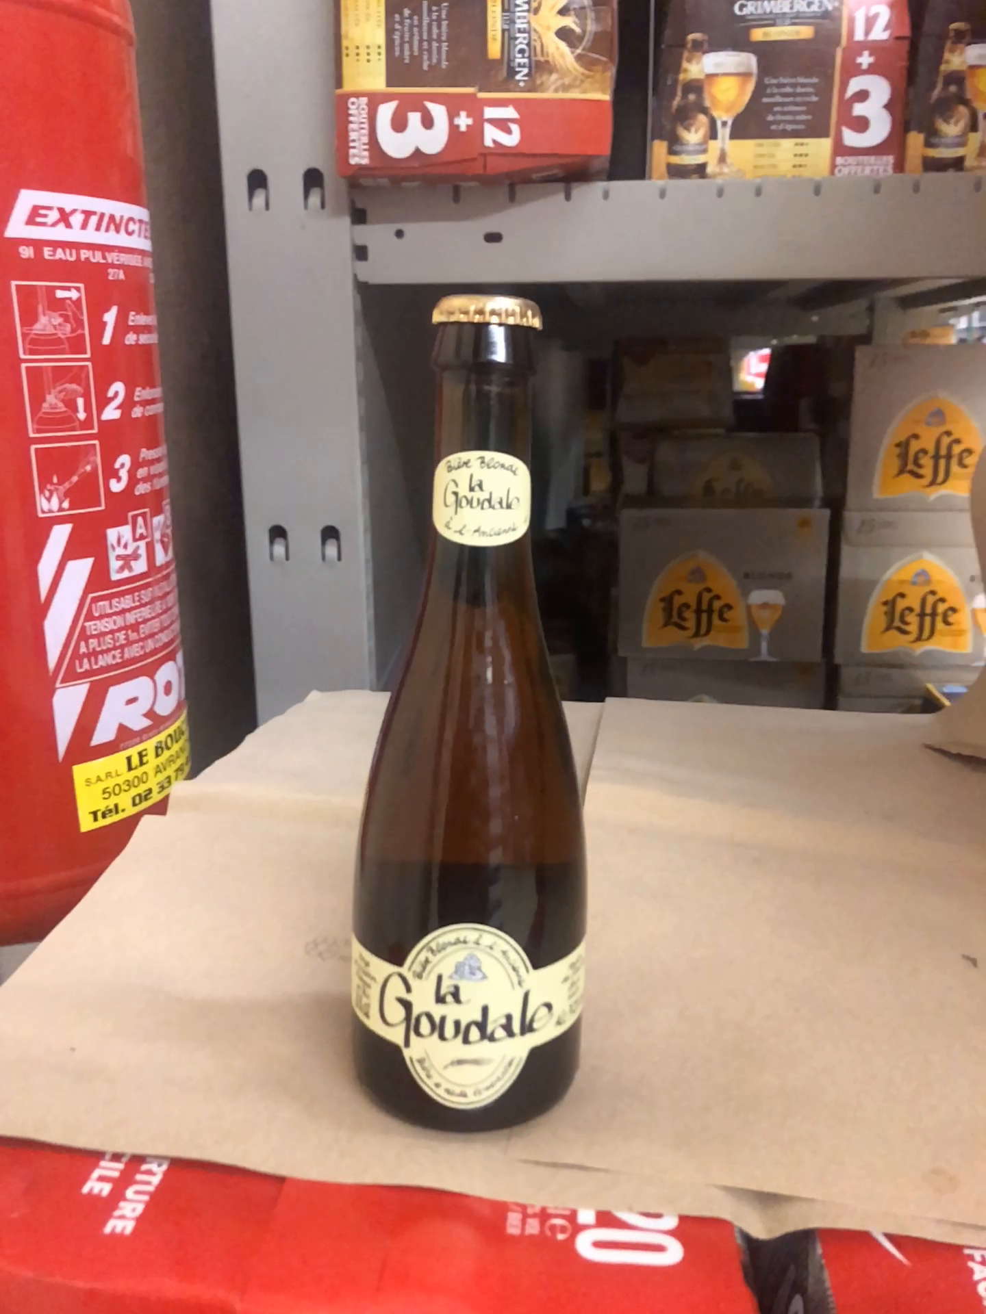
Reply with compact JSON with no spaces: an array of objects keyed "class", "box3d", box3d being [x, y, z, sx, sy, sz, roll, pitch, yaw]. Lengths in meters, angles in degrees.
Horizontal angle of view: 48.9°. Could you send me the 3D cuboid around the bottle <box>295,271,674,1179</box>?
[{"class":"bottle","box3d":[-0.006,0.018,0.287,0.080,0.219,0.070,0,14,-4]}]
